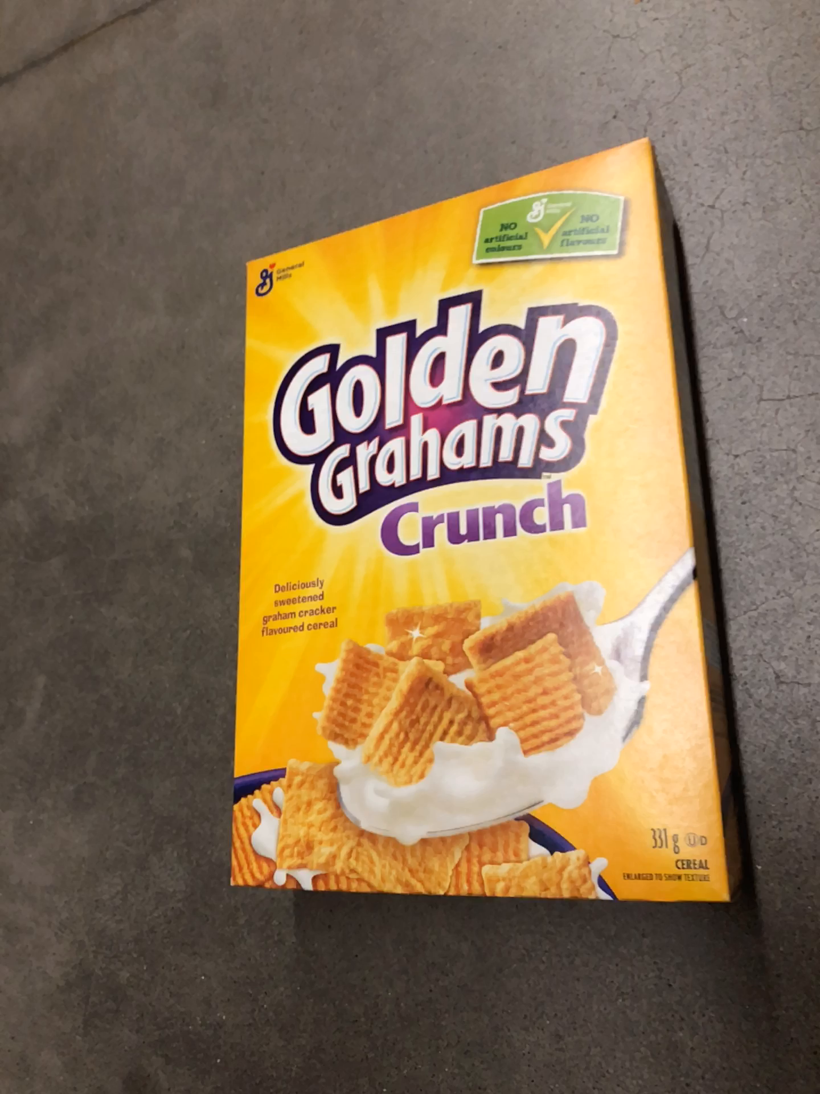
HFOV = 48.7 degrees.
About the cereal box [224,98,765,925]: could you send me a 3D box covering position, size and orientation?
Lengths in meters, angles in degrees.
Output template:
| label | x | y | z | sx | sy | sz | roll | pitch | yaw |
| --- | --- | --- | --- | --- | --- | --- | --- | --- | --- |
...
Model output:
| label | x | y | z | sx | sy | sz | roll | pitch | yaw |
| --- | --- | --- | --- | --- | --- | --- | --- | --- | --- |
| cereal box | 0.025 | -0.009 | 0.392 | 0.200 | 0.070 | 0.300 | -9 | 75 | 27 |
